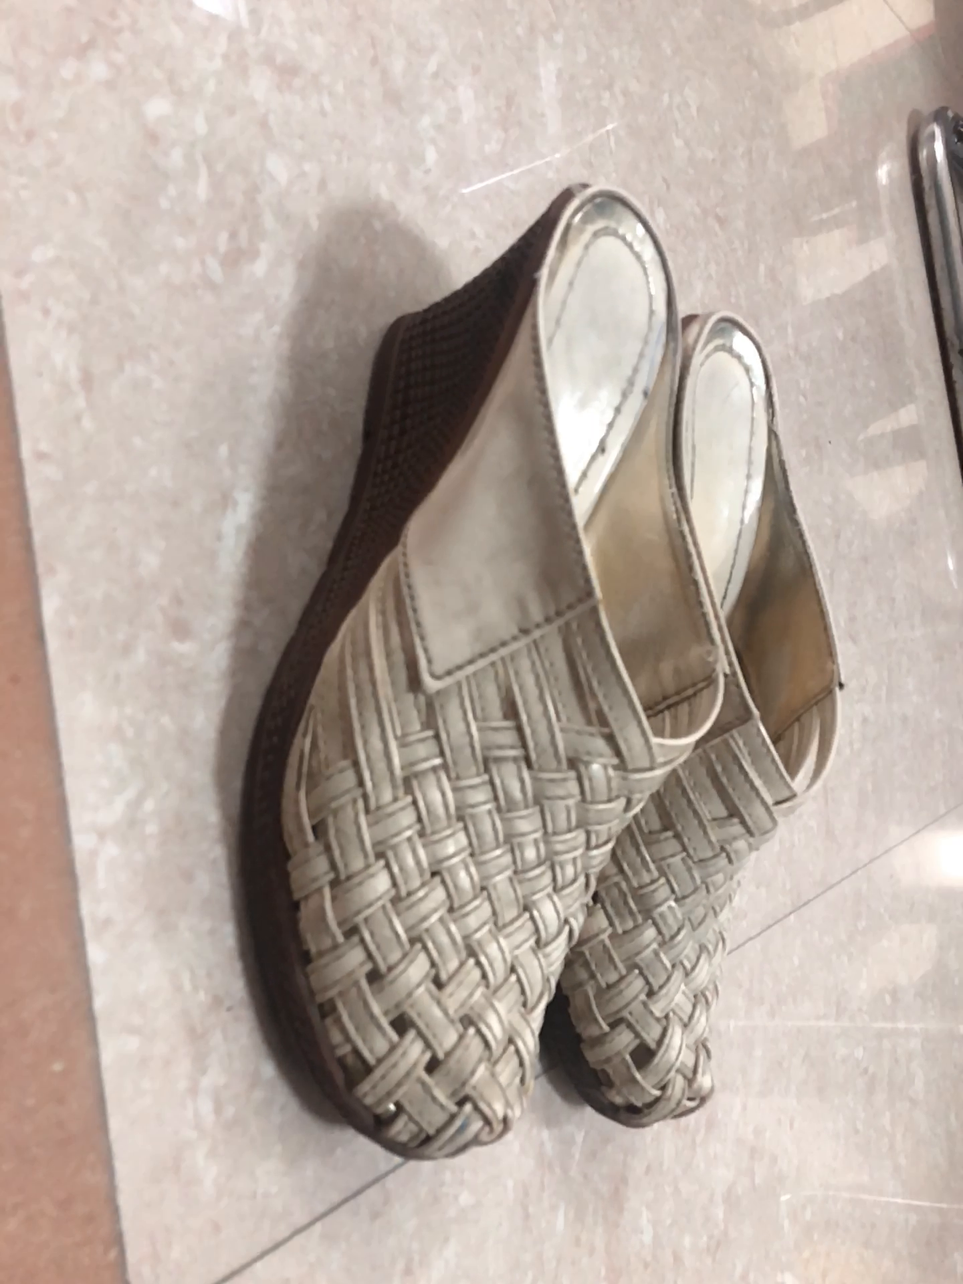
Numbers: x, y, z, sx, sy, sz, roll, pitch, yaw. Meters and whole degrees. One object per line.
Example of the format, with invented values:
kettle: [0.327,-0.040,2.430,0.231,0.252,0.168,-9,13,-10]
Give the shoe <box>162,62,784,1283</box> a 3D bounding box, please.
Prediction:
shoe: [0.005,0.007,0.253,0.101,0.084,0.225,20,66,-47]

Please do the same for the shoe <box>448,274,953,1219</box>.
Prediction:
shoe: [0.064,0.027,0.316,0.101,0.084,0.221,4,78,-51]
